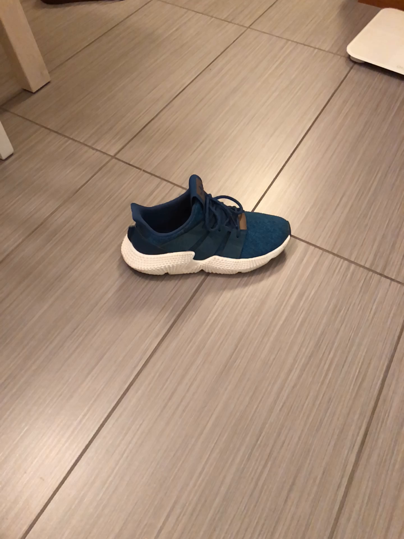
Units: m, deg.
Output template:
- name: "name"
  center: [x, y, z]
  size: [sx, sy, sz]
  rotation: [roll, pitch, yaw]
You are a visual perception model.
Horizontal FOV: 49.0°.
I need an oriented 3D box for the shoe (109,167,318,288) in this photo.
- name: "shoe"
  center: [0.011, -0.065, 0.691]
  size: [0.290, 0.119, 0.112]
  rotation: [-6, 55, -5]
